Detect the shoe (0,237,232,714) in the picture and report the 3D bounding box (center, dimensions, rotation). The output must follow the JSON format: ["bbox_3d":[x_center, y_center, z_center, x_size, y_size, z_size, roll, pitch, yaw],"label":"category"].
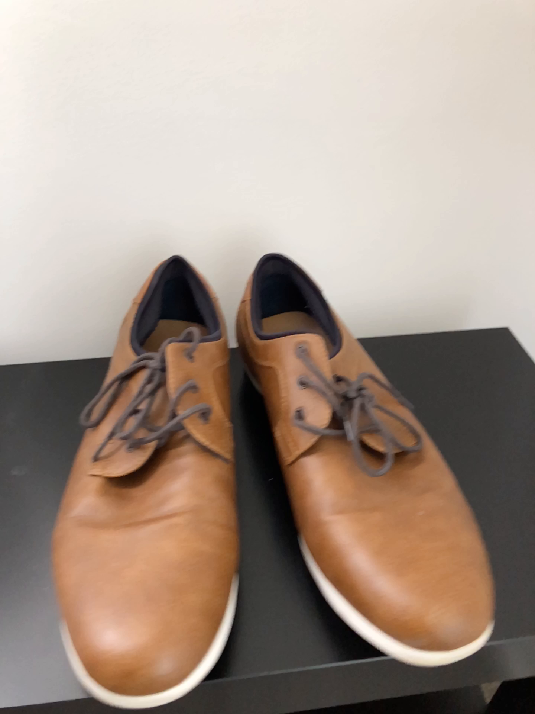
[{"bbox_3d":[-0.074,0.040,0.338,0.104,0.100,0.271,-1,38,-3],"label":"shoe"}]

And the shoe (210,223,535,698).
[{"bbox_3d":[0.043,0.029,0.366,0.104,0.100,0.281,-9,39,-12],"label":"shoe"}]
